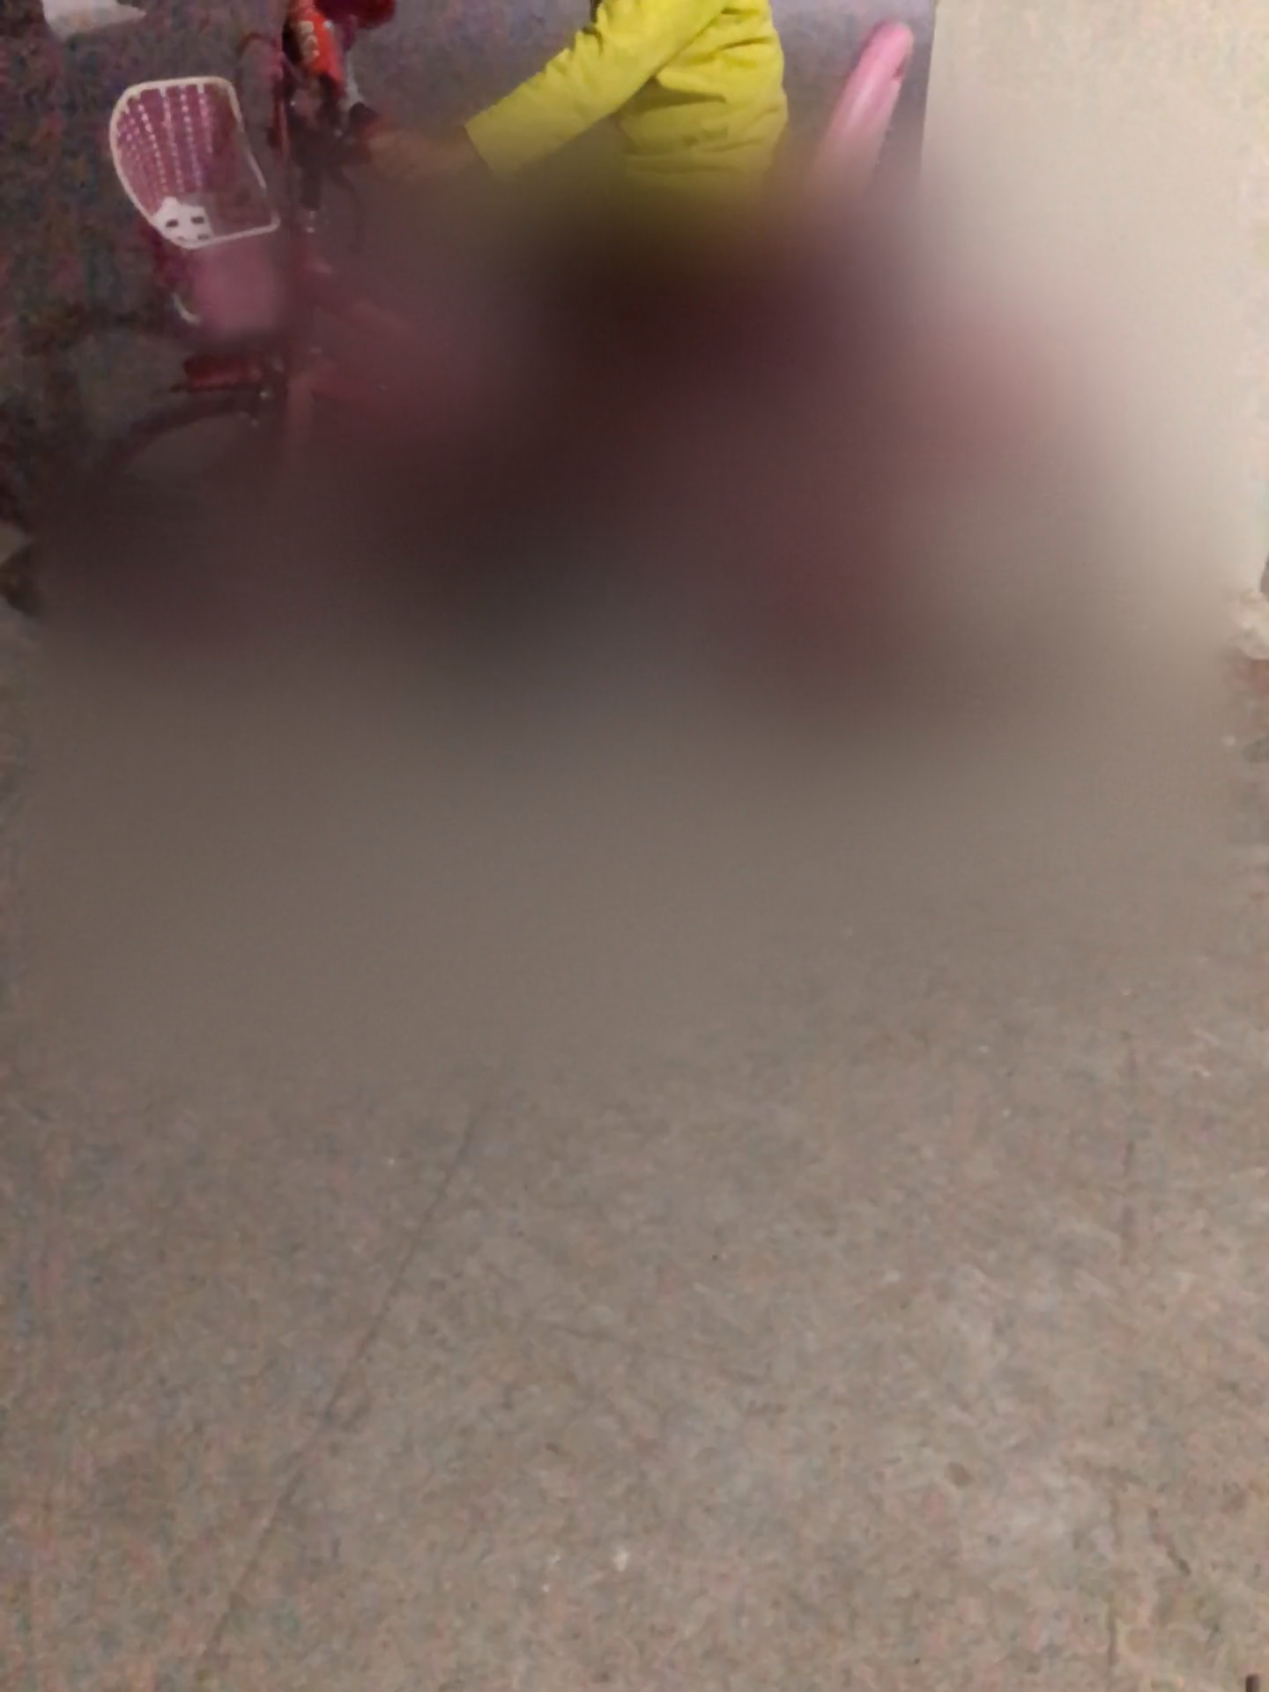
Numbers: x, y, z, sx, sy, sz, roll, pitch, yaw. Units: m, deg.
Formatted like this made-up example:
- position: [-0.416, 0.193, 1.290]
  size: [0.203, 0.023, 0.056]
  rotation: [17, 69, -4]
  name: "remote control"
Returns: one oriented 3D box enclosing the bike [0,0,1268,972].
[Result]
- position: [-0.117, -0.440, 1.470]
  size: [1.276, 0.910, 0.497]
  rotation: [6, 39, 6]
  name: "bike"
